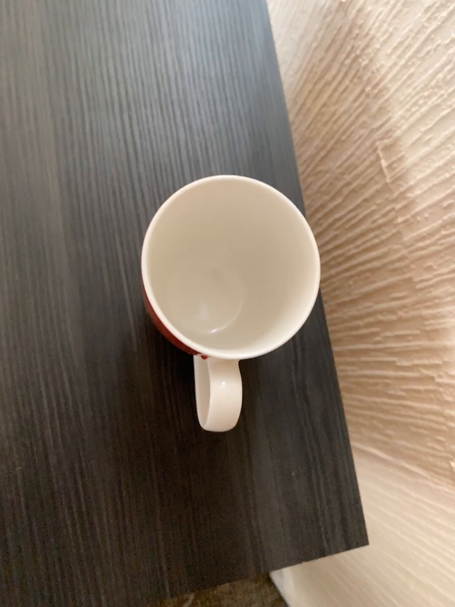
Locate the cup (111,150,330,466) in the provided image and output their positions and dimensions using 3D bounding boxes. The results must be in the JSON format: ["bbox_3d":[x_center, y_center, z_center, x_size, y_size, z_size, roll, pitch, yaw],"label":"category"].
[{"bbox_3d":[-0.008,0.006,0.246,0.090,0.090,0.130,2,82,-10],"label":"cup"}]
